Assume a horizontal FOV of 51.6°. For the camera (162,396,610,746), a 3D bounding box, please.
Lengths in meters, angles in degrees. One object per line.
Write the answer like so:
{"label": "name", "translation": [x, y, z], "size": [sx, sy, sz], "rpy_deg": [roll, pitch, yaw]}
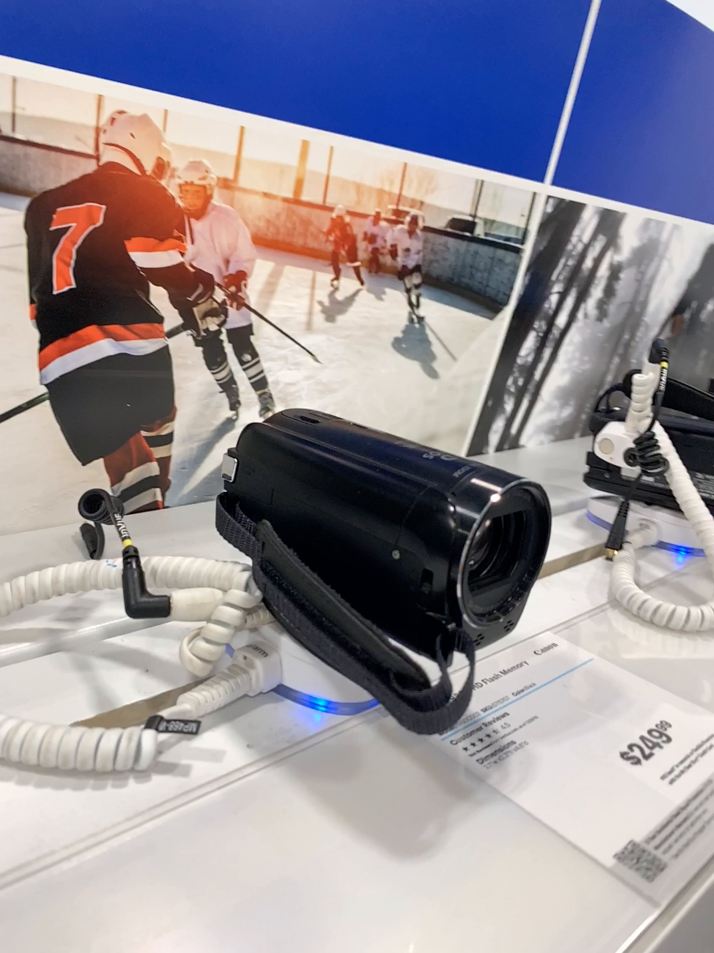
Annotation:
{"label": "camera", "translation": [0.001, 0.018, 0.257], "size": [0.072, 0.062, 0.140], "rpy_deg": [-8, 22, -43]}
